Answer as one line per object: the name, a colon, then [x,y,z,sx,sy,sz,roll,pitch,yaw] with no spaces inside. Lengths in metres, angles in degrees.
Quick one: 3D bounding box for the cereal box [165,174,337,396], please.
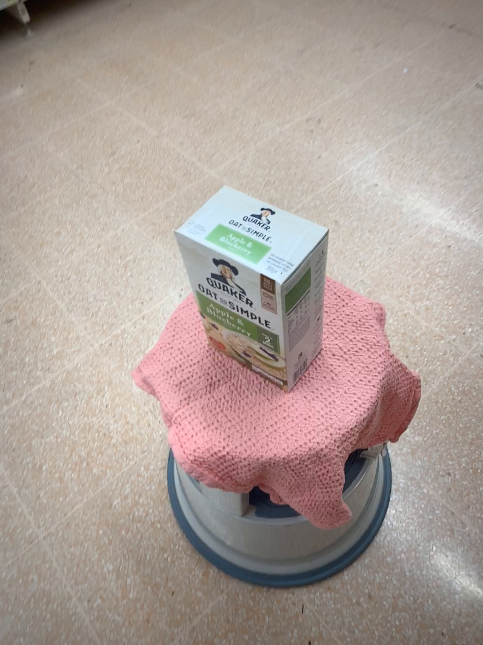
cereal box: [0.018,-0.035,0.556,0.140,0.209,0.090,29,63,25]
